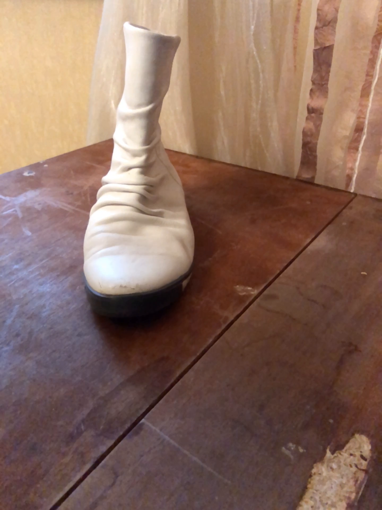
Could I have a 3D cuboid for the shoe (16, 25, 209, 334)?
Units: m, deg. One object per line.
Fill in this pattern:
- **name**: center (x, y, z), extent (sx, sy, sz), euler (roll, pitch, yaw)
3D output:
- **shoe**: center (-0.035, -0.084, 0.346), extent (0.090, 0.169, 0.241), euler (2, 31, 1)
